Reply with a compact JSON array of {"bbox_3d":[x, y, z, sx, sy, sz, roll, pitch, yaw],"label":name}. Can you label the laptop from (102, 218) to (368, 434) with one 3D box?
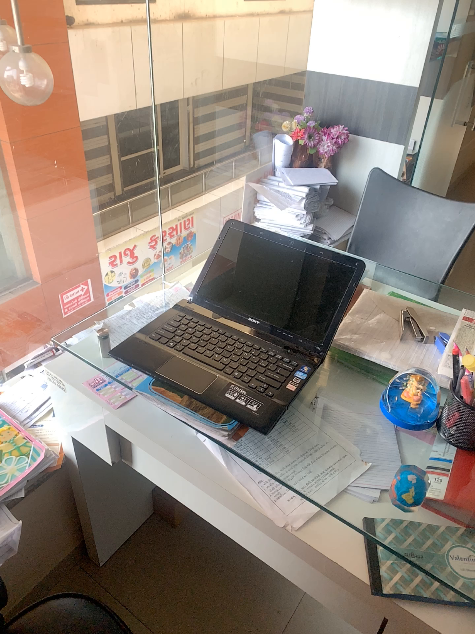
[{"bbox_3d":[0.011,-0.018,0.790,0.286,0.111,0.337,22,38,24],"label":"laptop"}]
